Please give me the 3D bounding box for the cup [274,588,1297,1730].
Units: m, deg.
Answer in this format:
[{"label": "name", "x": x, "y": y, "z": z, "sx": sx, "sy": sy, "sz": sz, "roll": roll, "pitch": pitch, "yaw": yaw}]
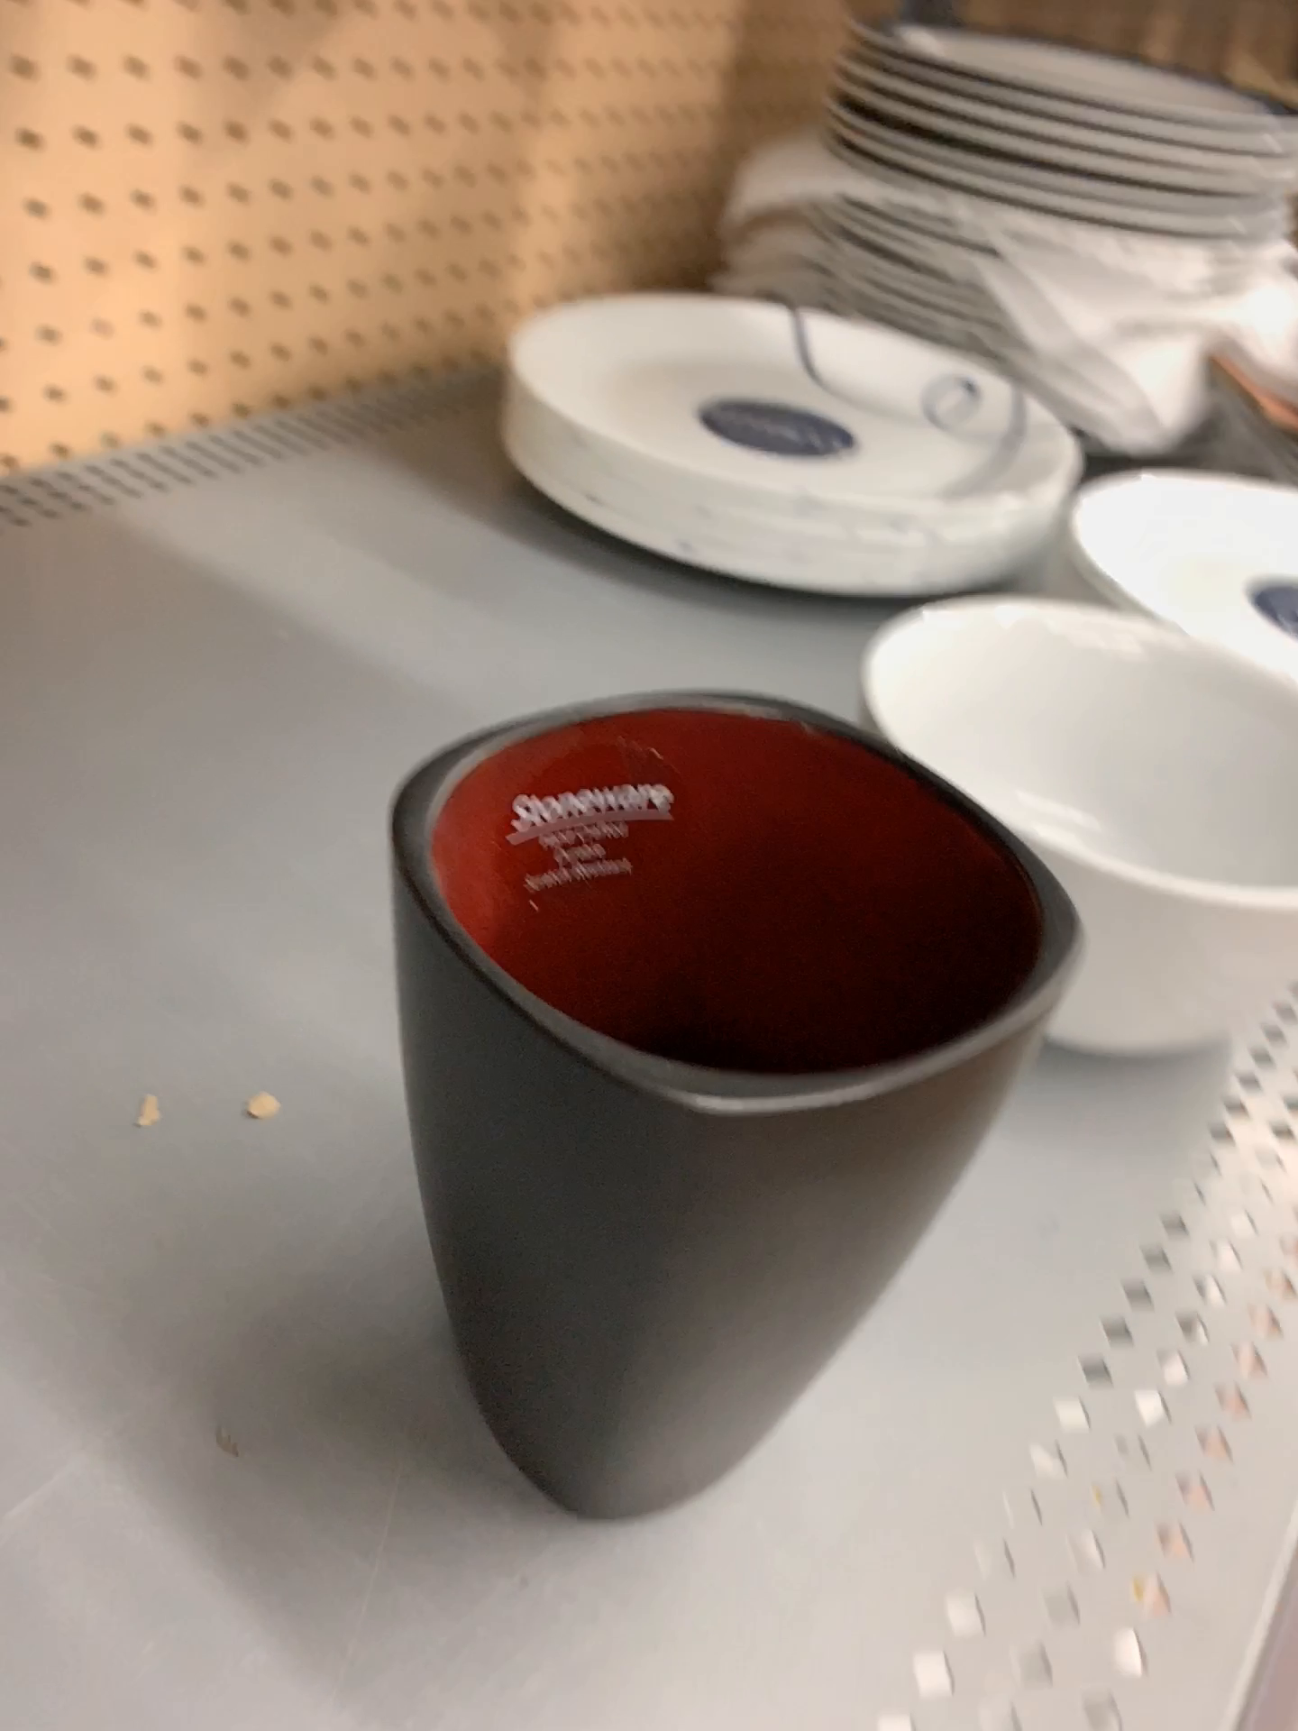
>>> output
[{"label": "cup", "x": 0.017, "y": 0.042, "z": 0.236, "sx": 0.130, "sy": 0.129, "sz": 0.090, "roll": -23, "pitch": 47, "yaw": -37}]
